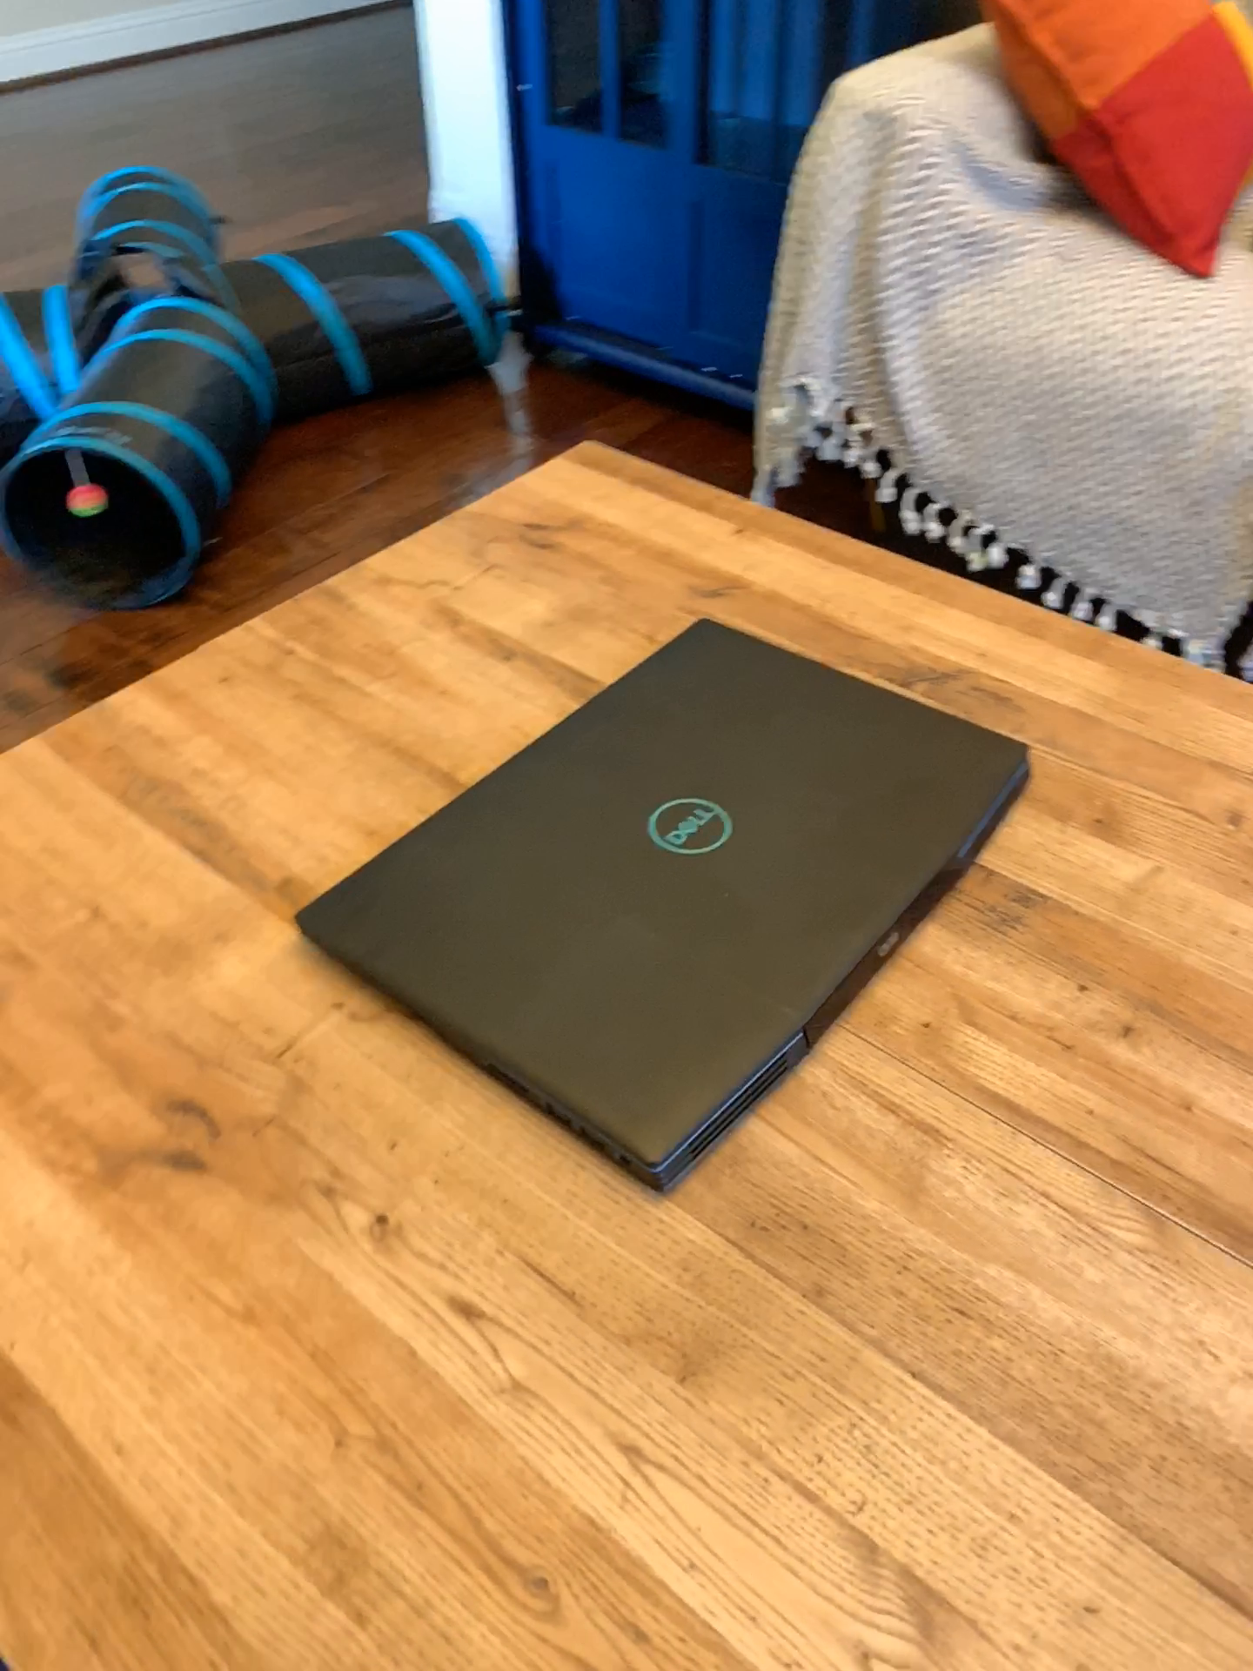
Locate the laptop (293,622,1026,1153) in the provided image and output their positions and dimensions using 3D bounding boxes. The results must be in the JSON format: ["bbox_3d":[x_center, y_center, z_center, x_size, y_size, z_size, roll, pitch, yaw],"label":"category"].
[{"bbox_3d":[0.030,-0.003,0.692,0.227,0.001,0.347,28,50,29],"label":"laptop"}]
